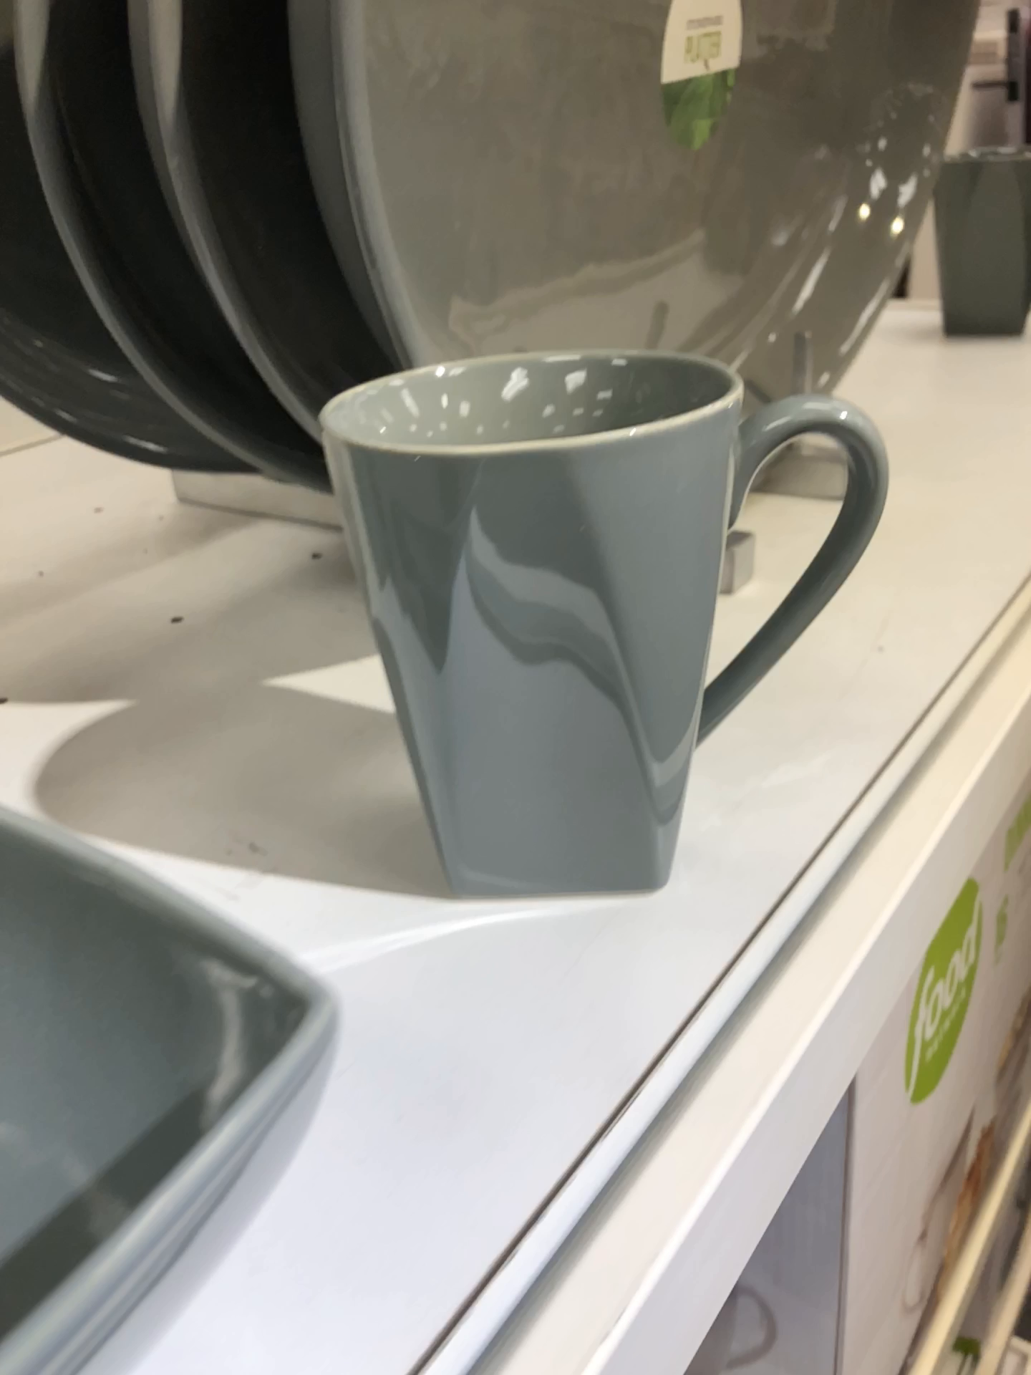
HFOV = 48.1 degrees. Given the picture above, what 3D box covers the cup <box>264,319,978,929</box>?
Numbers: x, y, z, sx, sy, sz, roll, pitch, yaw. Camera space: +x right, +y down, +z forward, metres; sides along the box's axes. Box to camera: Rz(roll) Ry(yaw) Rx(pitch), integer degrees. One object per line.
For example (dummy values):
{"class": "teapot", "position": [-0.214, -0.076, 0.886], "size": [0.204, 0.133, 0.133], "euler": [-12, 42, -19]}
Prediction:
{"class": "cup", "position": [0.020, -0.020, 0.258], "size": [0.118, 0.097, 0.100], "euler": [-3, 27, 2]}
